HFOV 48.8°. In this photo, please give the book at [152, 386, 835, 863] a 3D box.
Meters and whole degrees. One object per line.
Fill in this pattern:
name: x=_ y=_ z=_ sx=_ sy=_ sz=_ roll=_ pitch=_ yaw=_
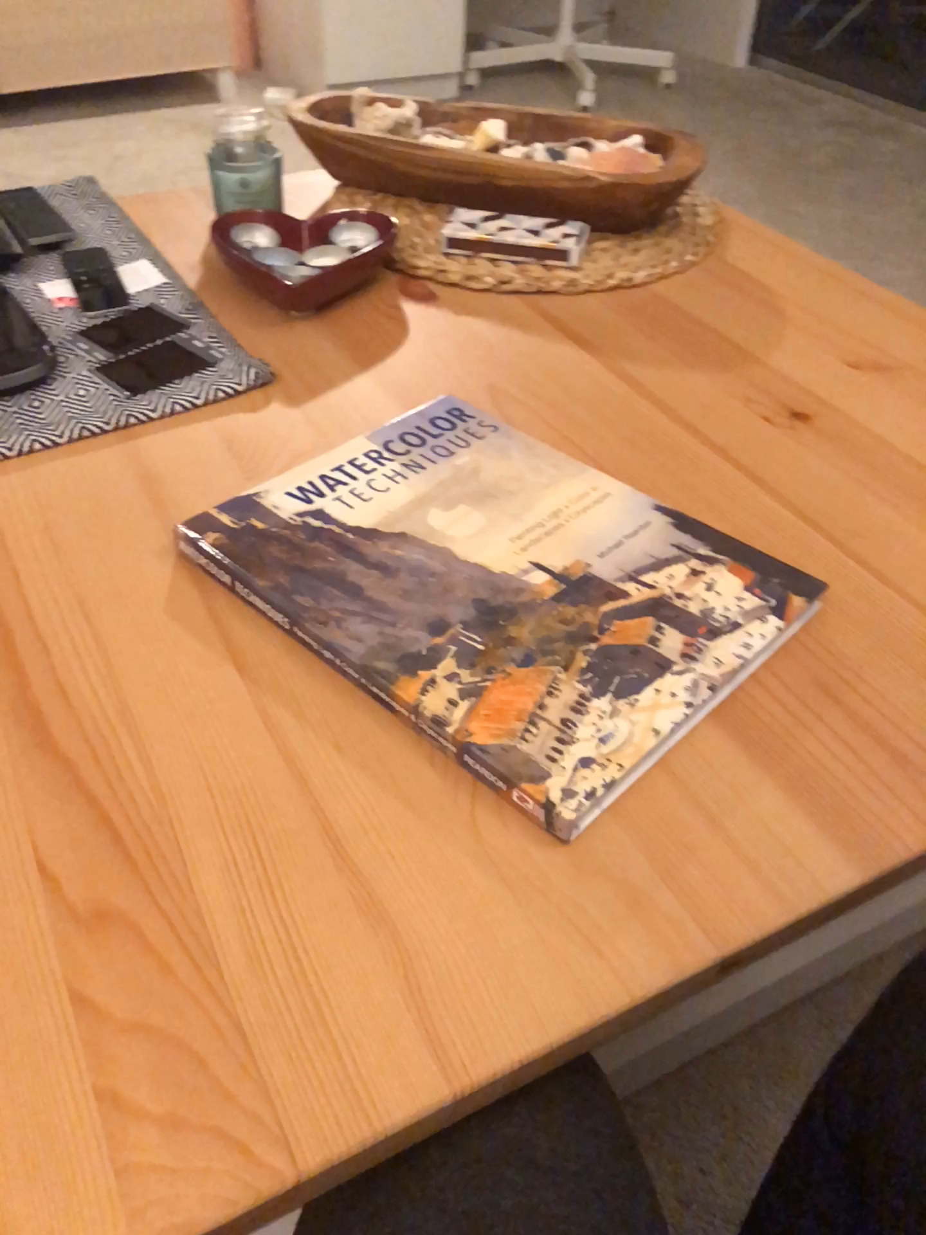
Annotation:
book: x=0.013 y=-0.025 z=0.529 sx=0.279 sy=0.020 sz=0.214 roll=32 pitch=49 yaw=30
